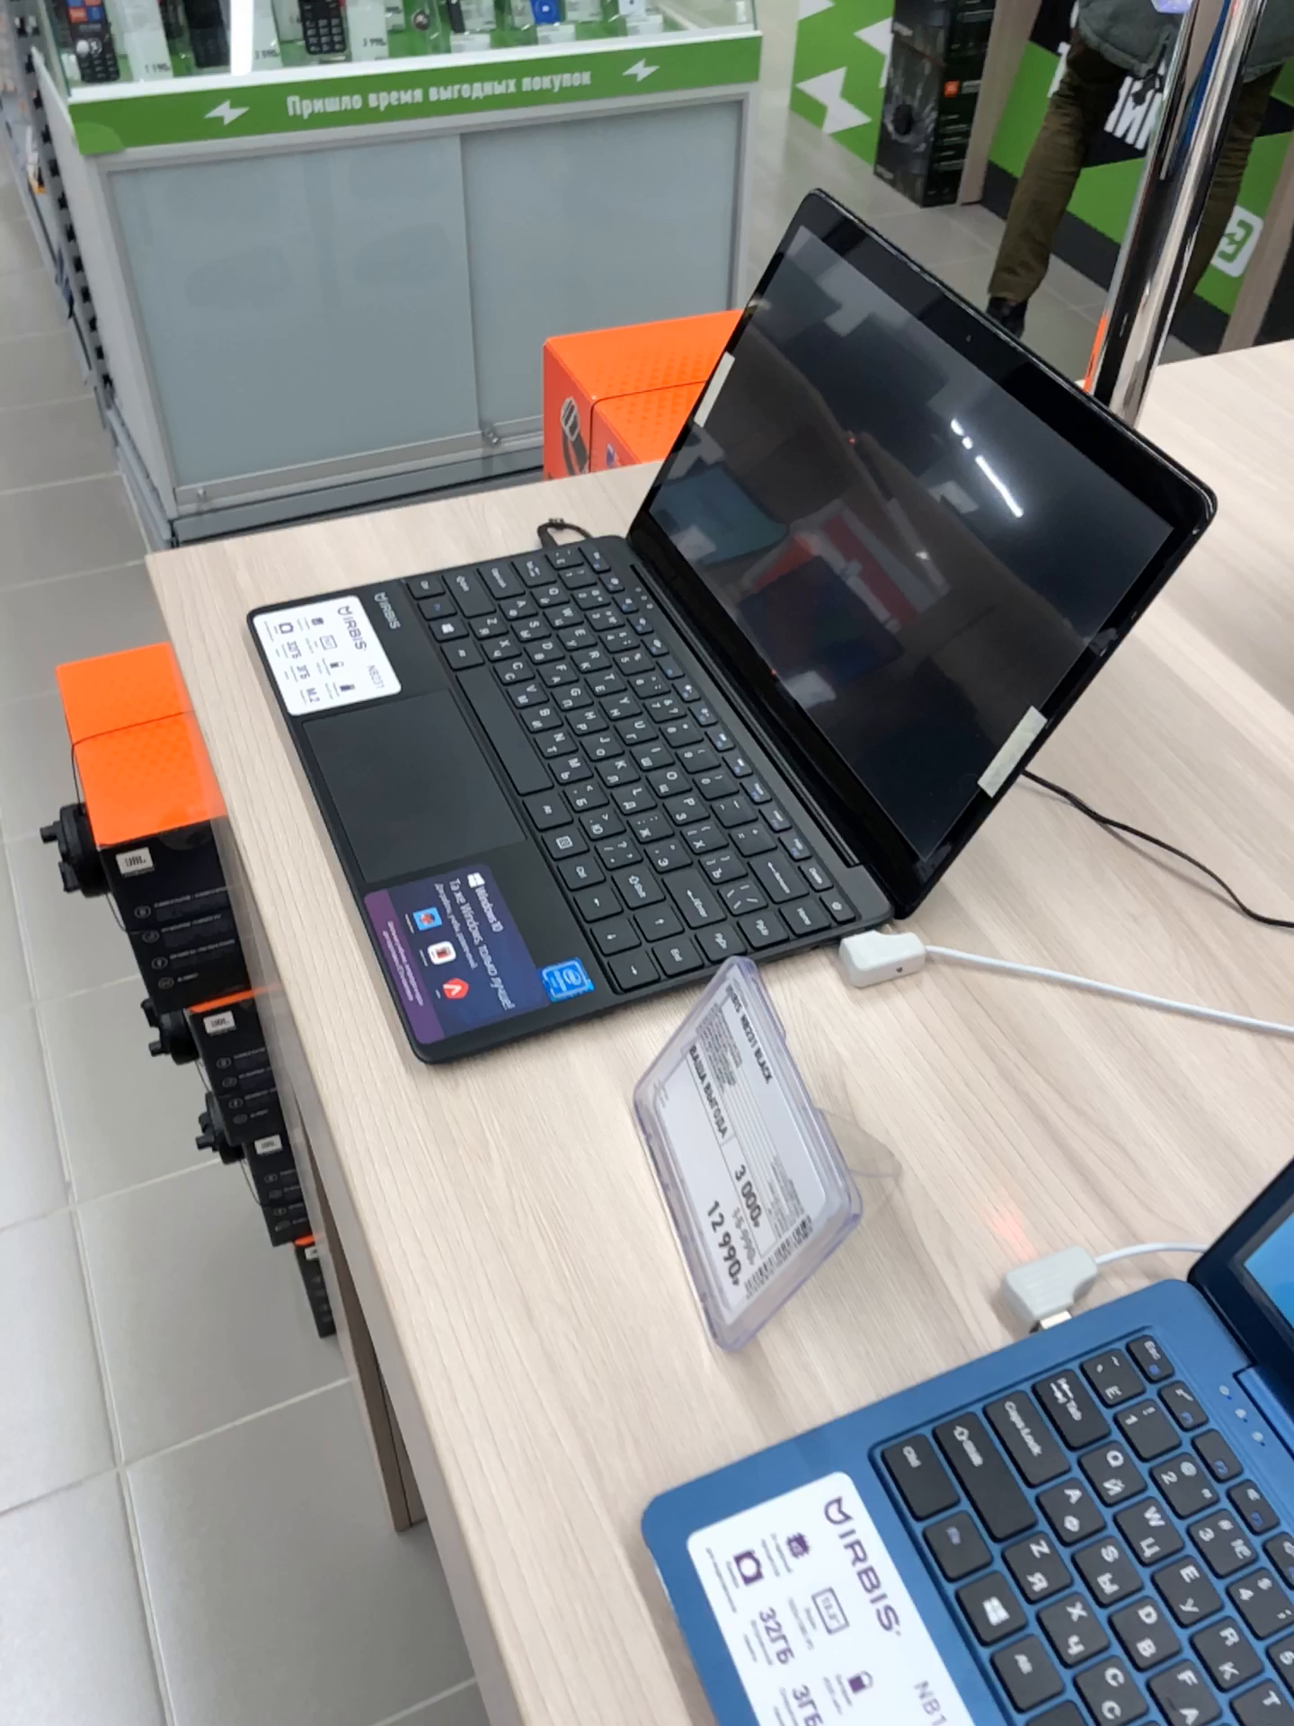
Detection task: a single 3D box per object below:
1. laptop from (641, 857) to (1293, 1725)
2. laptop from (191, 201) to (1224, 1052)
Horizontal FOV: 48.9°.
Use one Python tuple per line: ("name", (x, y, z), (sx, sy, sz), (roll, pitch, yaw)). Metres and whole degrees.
("laptop", (0.187, 0.192, 0.288), (0.265, 0.186, 0.309), (-14, 46, -17))
("laptop", (0.001, -0.128, 0.620), (0.306, 0.172, 0.305), (-16, 47, -17))
